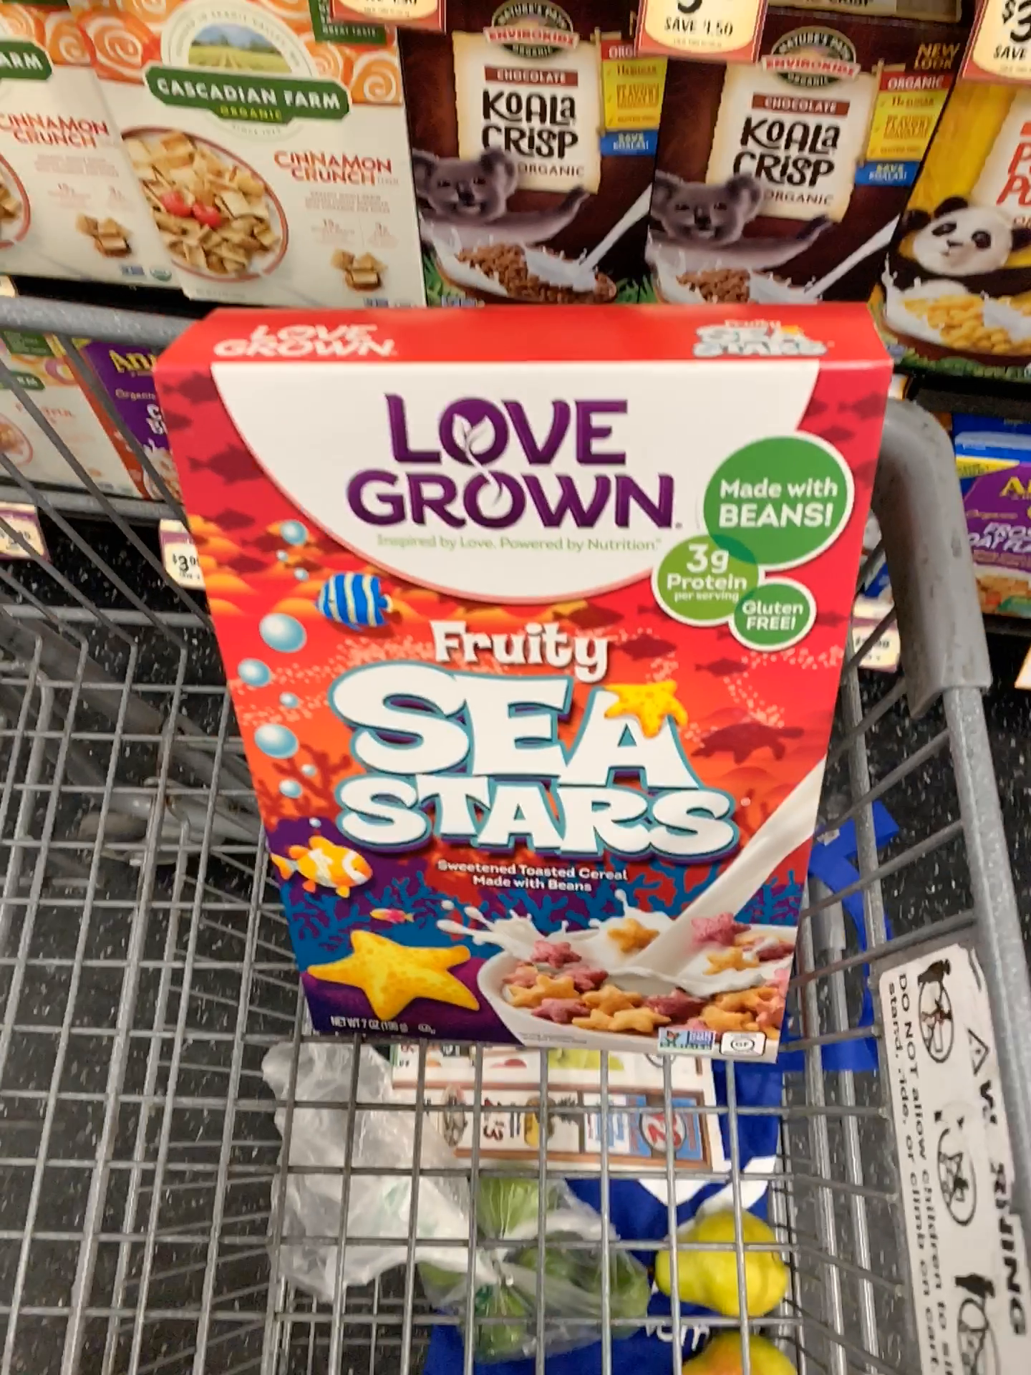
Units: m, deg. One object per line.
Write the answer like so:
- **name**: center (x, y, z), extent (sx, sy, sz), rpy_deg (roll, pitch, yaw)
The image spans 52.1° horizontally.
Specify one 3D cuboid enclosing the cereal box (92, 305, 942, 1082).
- **cereal box**: center (0.003, 0.019, 0.318), extent (0.180, 0.250, 0.050), rpy_deg (3, 38, 6)
